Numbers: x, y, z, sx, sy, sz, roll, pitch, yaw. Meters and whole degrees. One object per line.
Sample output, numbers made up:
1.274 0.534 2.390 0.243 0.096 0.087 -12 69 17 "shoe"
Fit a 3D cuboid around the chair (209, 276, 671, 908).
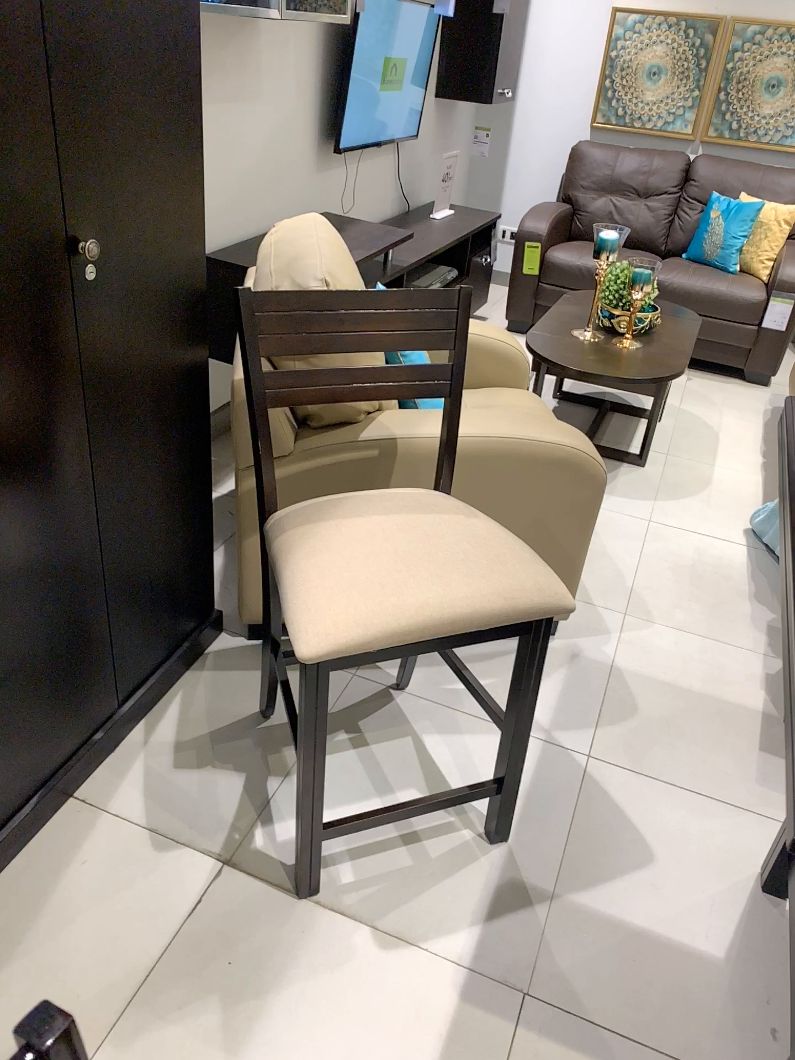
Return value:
-0.015 0.079 1.490 0.520 0.916 0.592 -8 34 -22 "chair"
